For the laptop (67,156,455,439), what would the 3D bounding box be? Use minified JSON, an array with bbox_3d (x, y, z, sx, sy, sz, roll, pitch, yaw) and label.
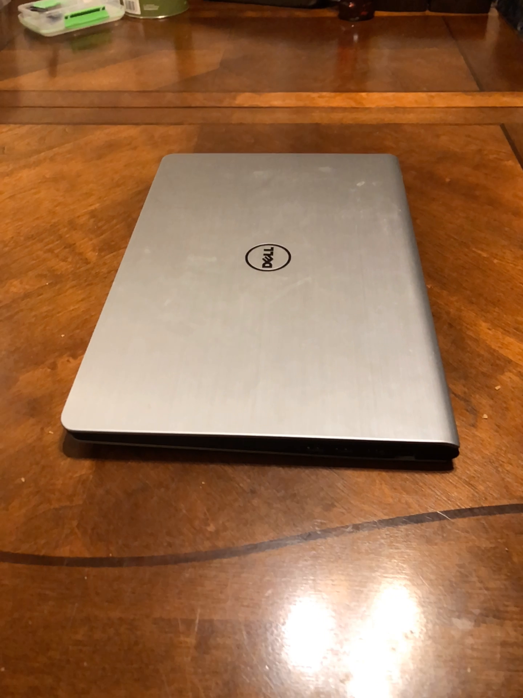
[{"bbox_3d":[0.008,-0.077,0.489,0.243,0.002,0.366,1,45,3],"label":"laptop"}]
